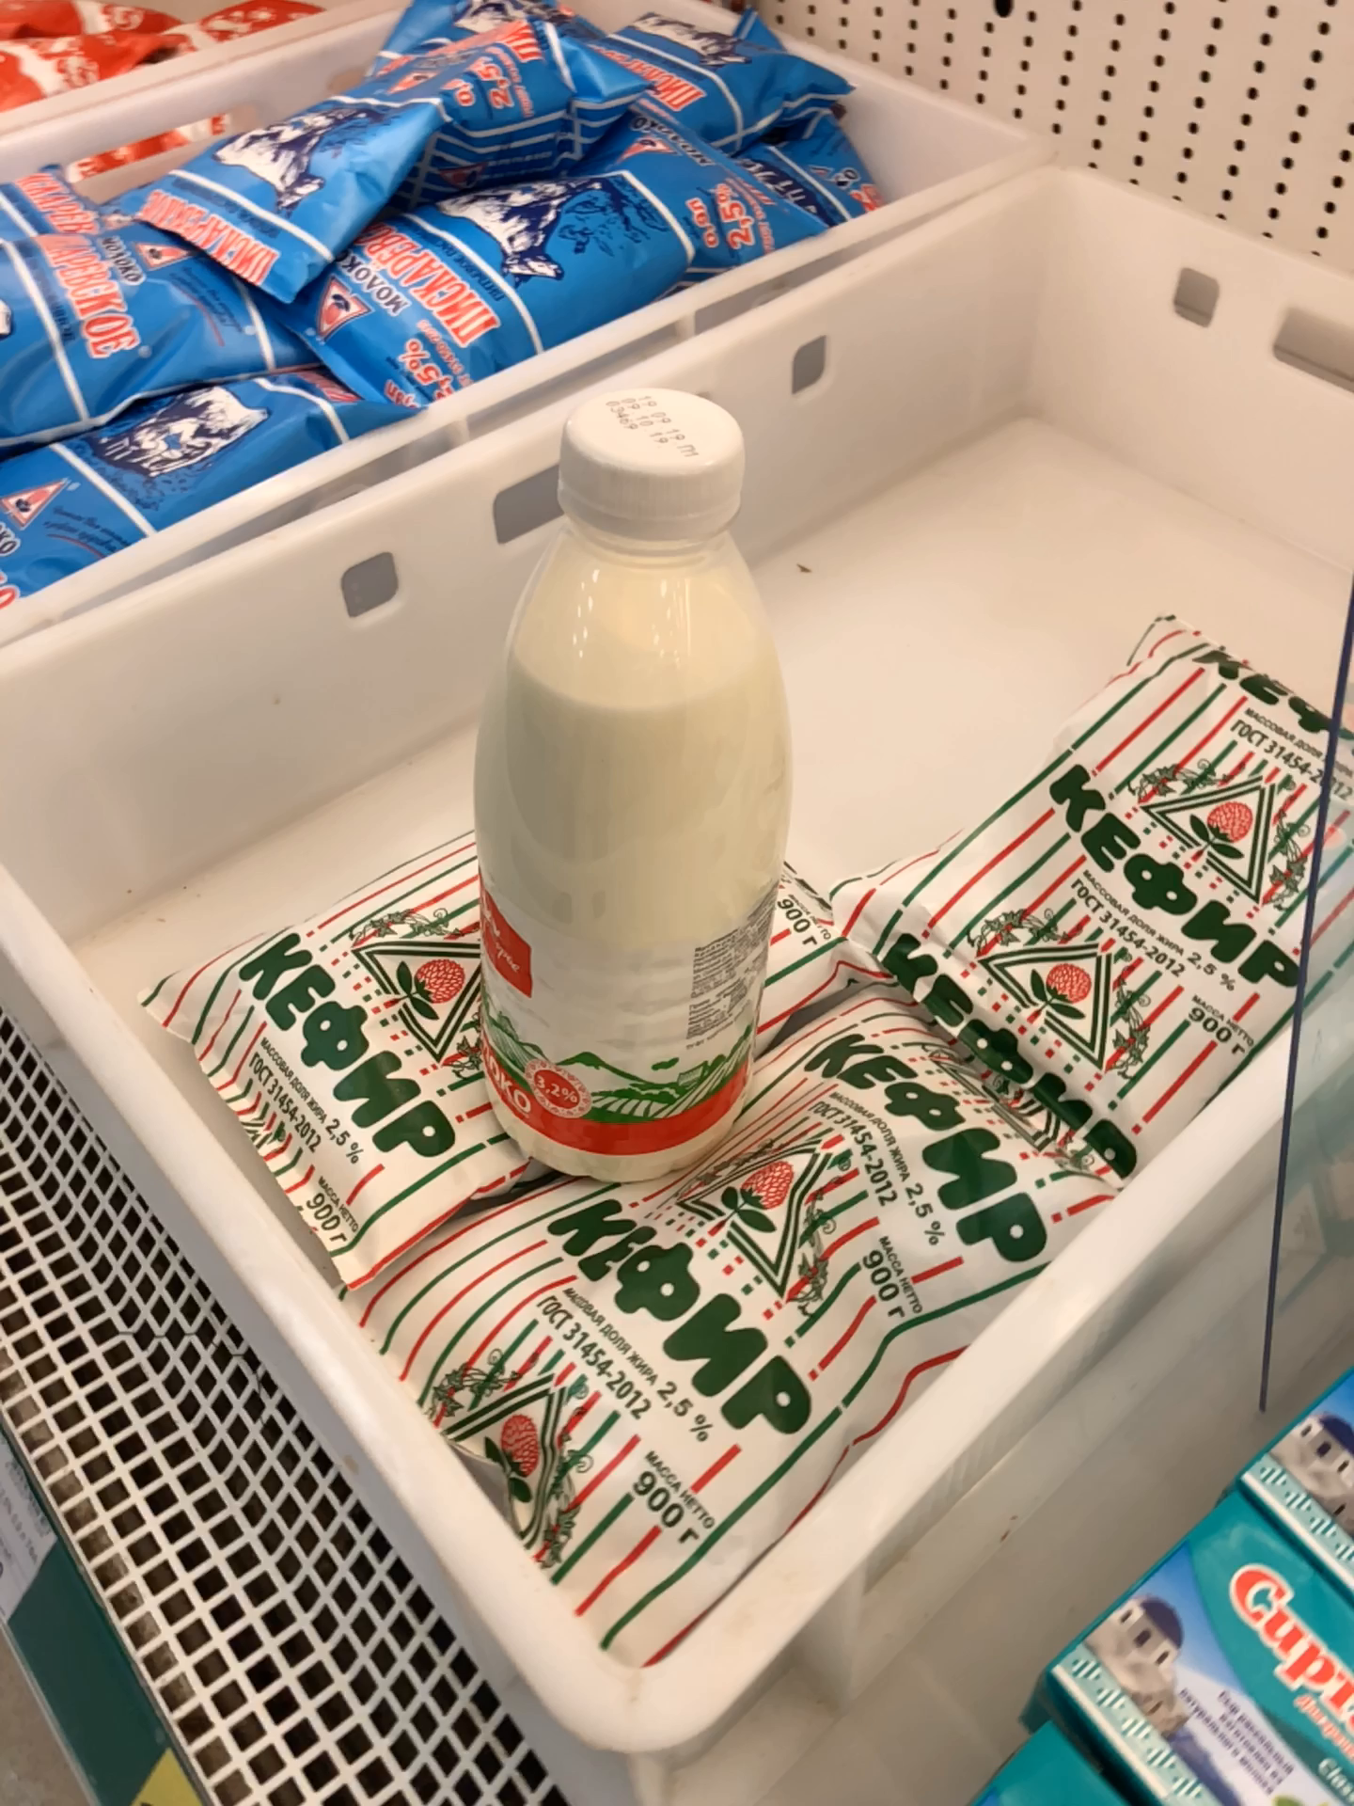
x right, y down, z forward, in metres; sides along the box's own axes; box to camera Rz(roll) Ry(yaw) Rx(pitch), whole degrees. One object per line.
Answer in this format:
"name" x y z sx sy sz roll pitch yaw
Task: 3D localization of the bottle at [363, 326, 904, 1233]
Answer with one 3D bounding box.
"bottle" -0.017 -0.021 0.389 0.085 0.216 0.085 2 46 -2
